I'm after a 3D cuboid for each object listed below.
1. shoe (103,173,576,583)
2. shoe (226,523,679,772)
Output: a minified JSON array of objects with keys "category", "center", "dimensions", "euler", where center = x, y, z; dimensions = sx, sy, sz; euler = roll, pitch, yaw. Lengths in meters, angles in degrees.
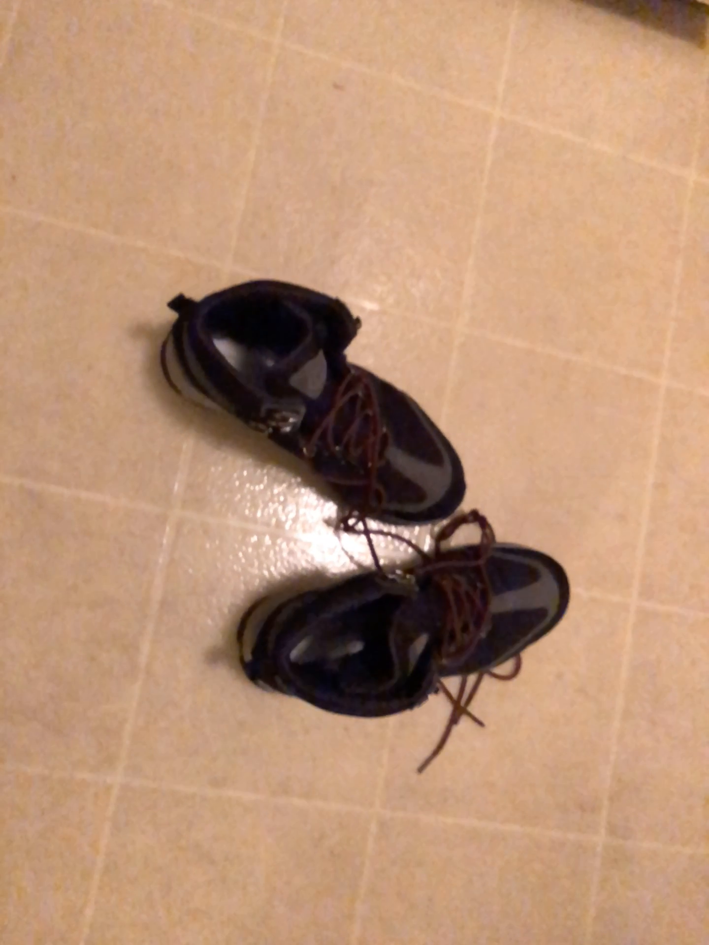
[{"category":"shoe","center":[-0.022,-0.053,0.628],"dimensions":[0.309,0.196,0.126],"euler":[34,79,-8]},{"category":"shoe","center":[0.060,0.122,0.631],"dimensions":[0.299,0.196,0.116],"euler":[-8,87,-14]}]
